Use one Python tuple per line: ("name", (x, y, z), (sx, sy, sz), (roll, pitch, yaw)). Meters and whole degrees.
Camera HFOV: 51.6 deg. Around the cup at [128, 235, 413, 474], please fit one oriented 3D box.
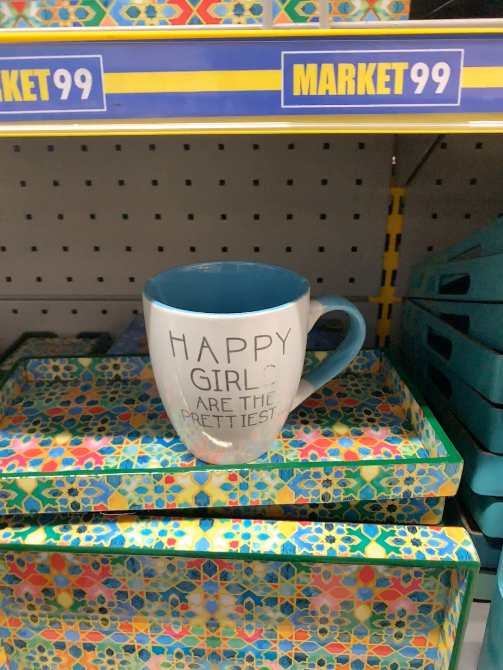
("cup", (0.004, 0.001, 0.349), (0.150, 0.100, 0.120), (-8, 24, -15))
